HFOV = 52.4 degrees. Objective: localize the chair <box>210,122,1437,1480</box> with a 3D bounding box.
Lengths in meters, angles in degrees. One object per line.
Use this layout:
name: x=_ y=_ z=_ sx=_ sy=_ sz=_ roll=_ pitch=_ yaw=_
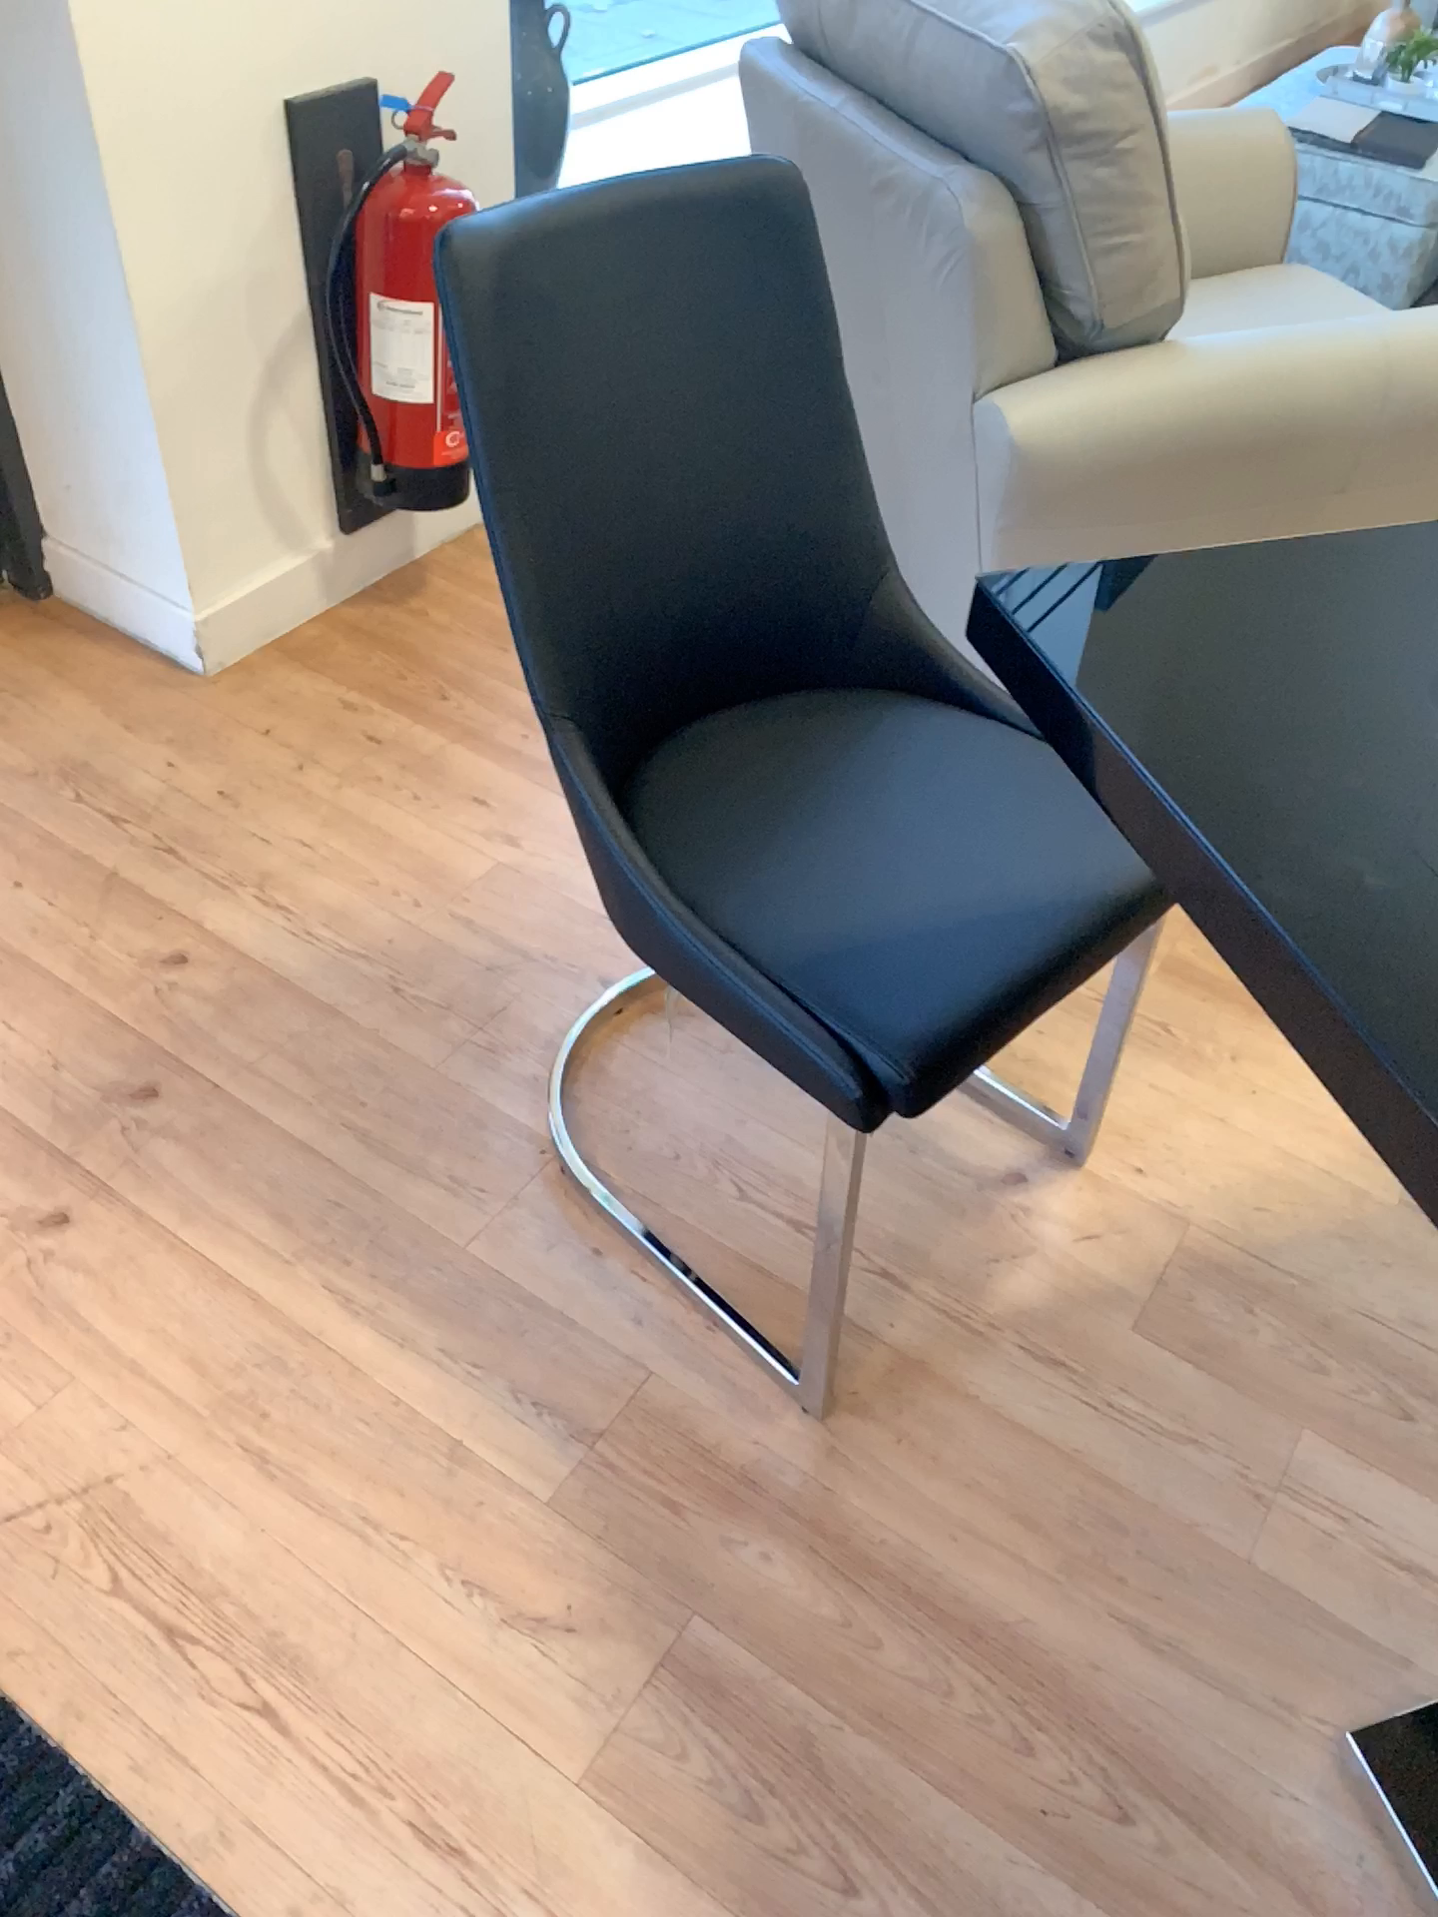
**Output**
chair: x=0.045 y=-0.143 z=1.229 sx=0.632 sy=0.812 sz=0.508 roll=32 pitch=49 yaw=27
